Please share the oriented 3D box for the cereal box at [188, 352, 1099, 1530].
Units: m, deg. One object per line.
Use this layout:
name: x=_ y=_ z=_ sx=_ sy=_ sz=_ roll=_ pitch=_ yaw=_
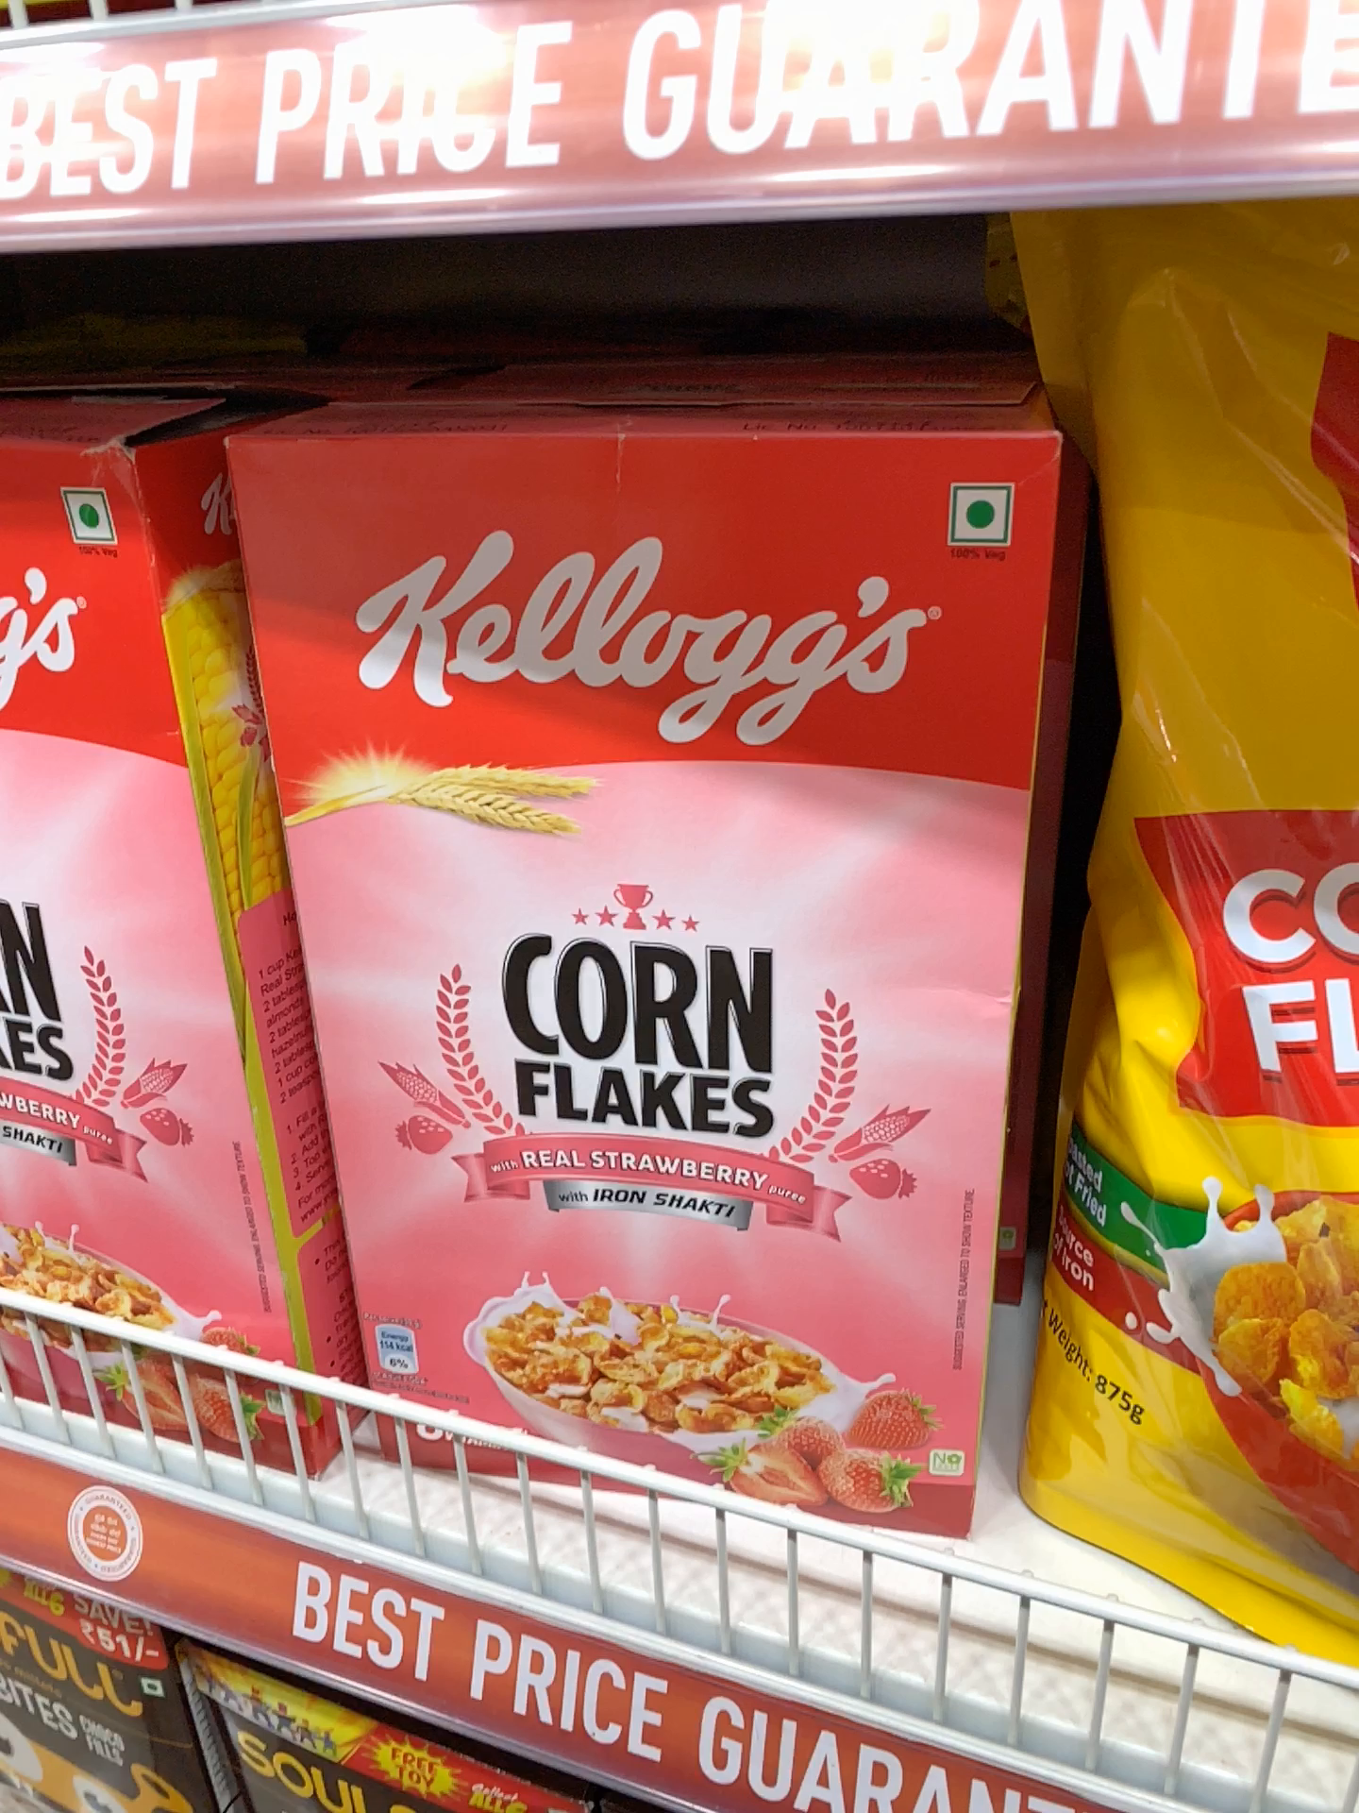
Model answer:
cereal box: x=0.002 y=0.011 z=0.351 sx=0.170 sy=0.268 sz=0.091 roll=2 pitch=24 yaw=10
